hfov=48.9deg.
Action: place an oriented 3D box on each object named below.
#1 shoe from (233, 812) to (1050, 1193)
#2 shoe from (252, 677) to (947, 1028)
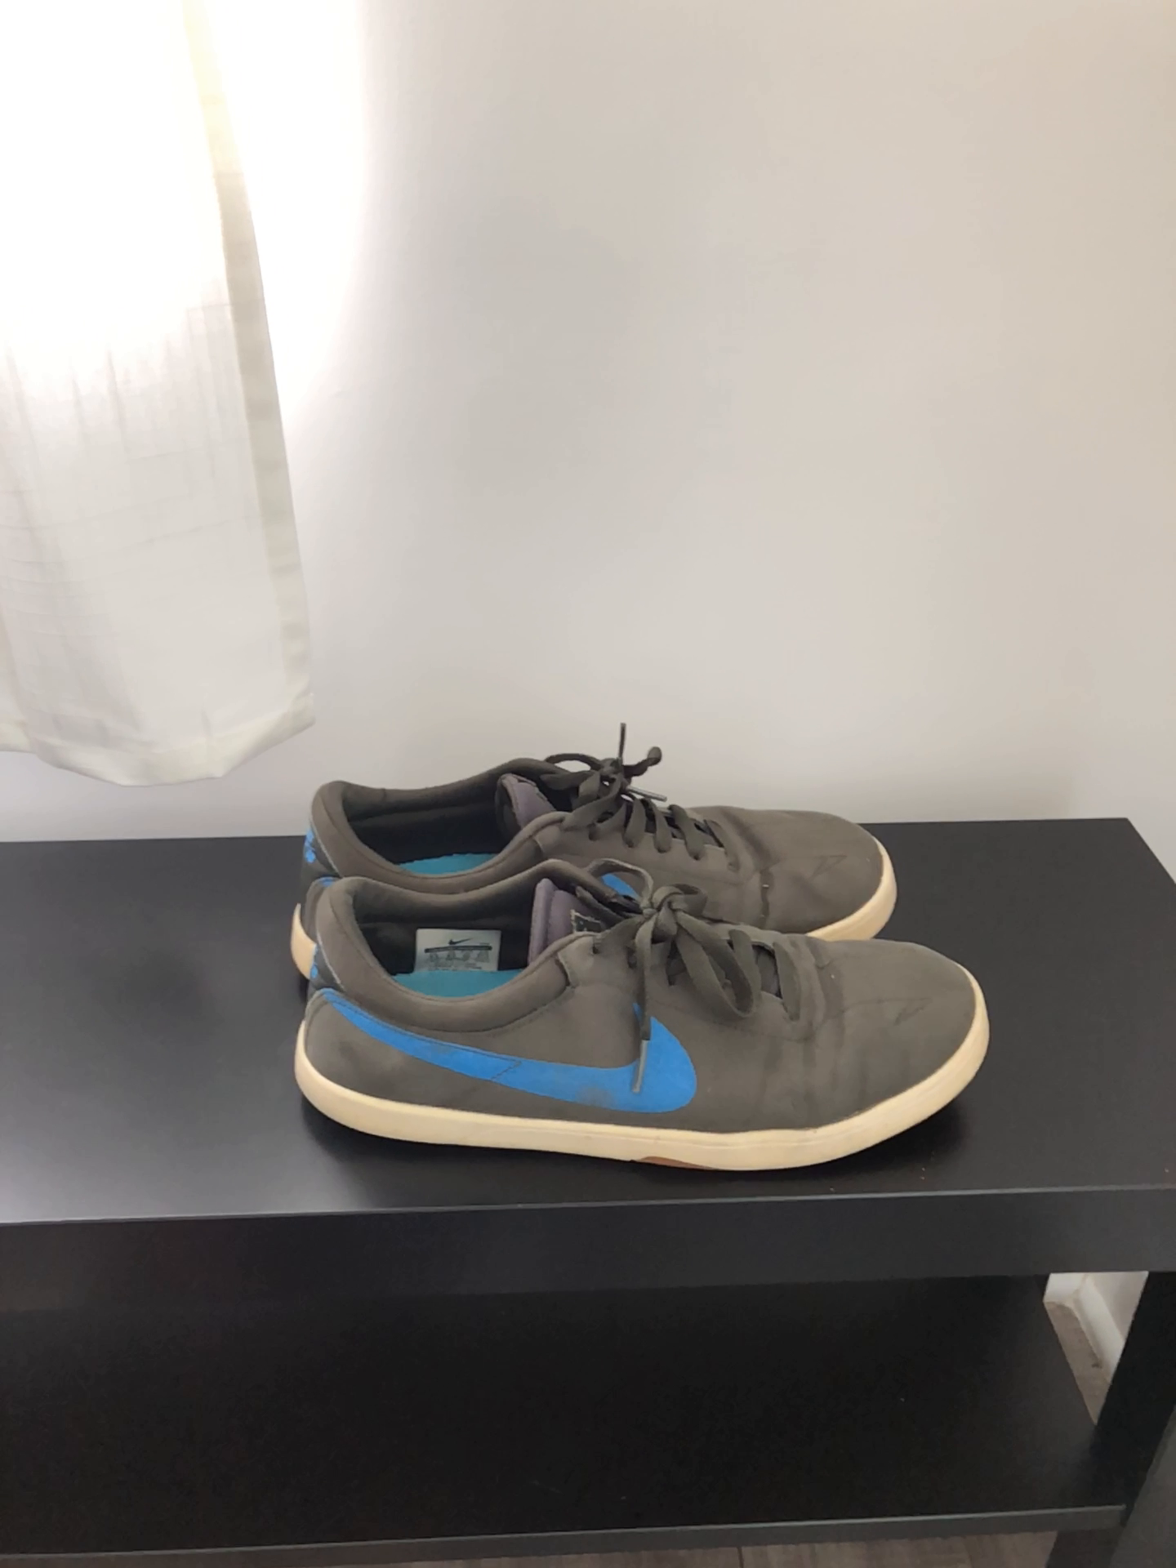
[{"bbox_3d":[0.018,0.084,0.514,0.280,0.110,0.100,0,31,-1],"label":"shoe"},{"bbox_3d":[0.002,0.028,0.589,0.280,0.110,0.100,-2,31,-5],"label":"shoe"}]
